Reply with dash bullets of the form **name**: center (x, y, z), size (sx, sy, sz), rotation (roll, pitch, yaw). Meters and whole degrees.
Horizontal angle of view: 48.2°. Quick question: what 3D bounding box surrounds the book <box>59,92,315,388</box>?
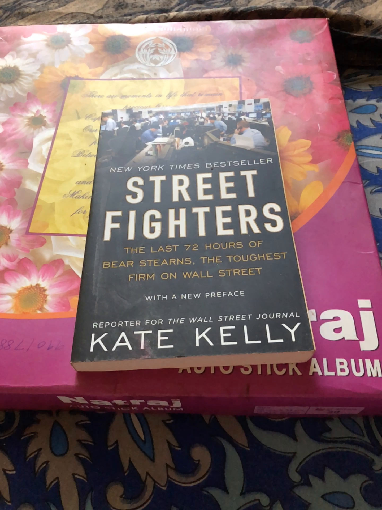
- **book**: center (-0.005, -0.022, 0.297), size (0.140, 0.030, 0.210), rotation (-5, 60, 6)
